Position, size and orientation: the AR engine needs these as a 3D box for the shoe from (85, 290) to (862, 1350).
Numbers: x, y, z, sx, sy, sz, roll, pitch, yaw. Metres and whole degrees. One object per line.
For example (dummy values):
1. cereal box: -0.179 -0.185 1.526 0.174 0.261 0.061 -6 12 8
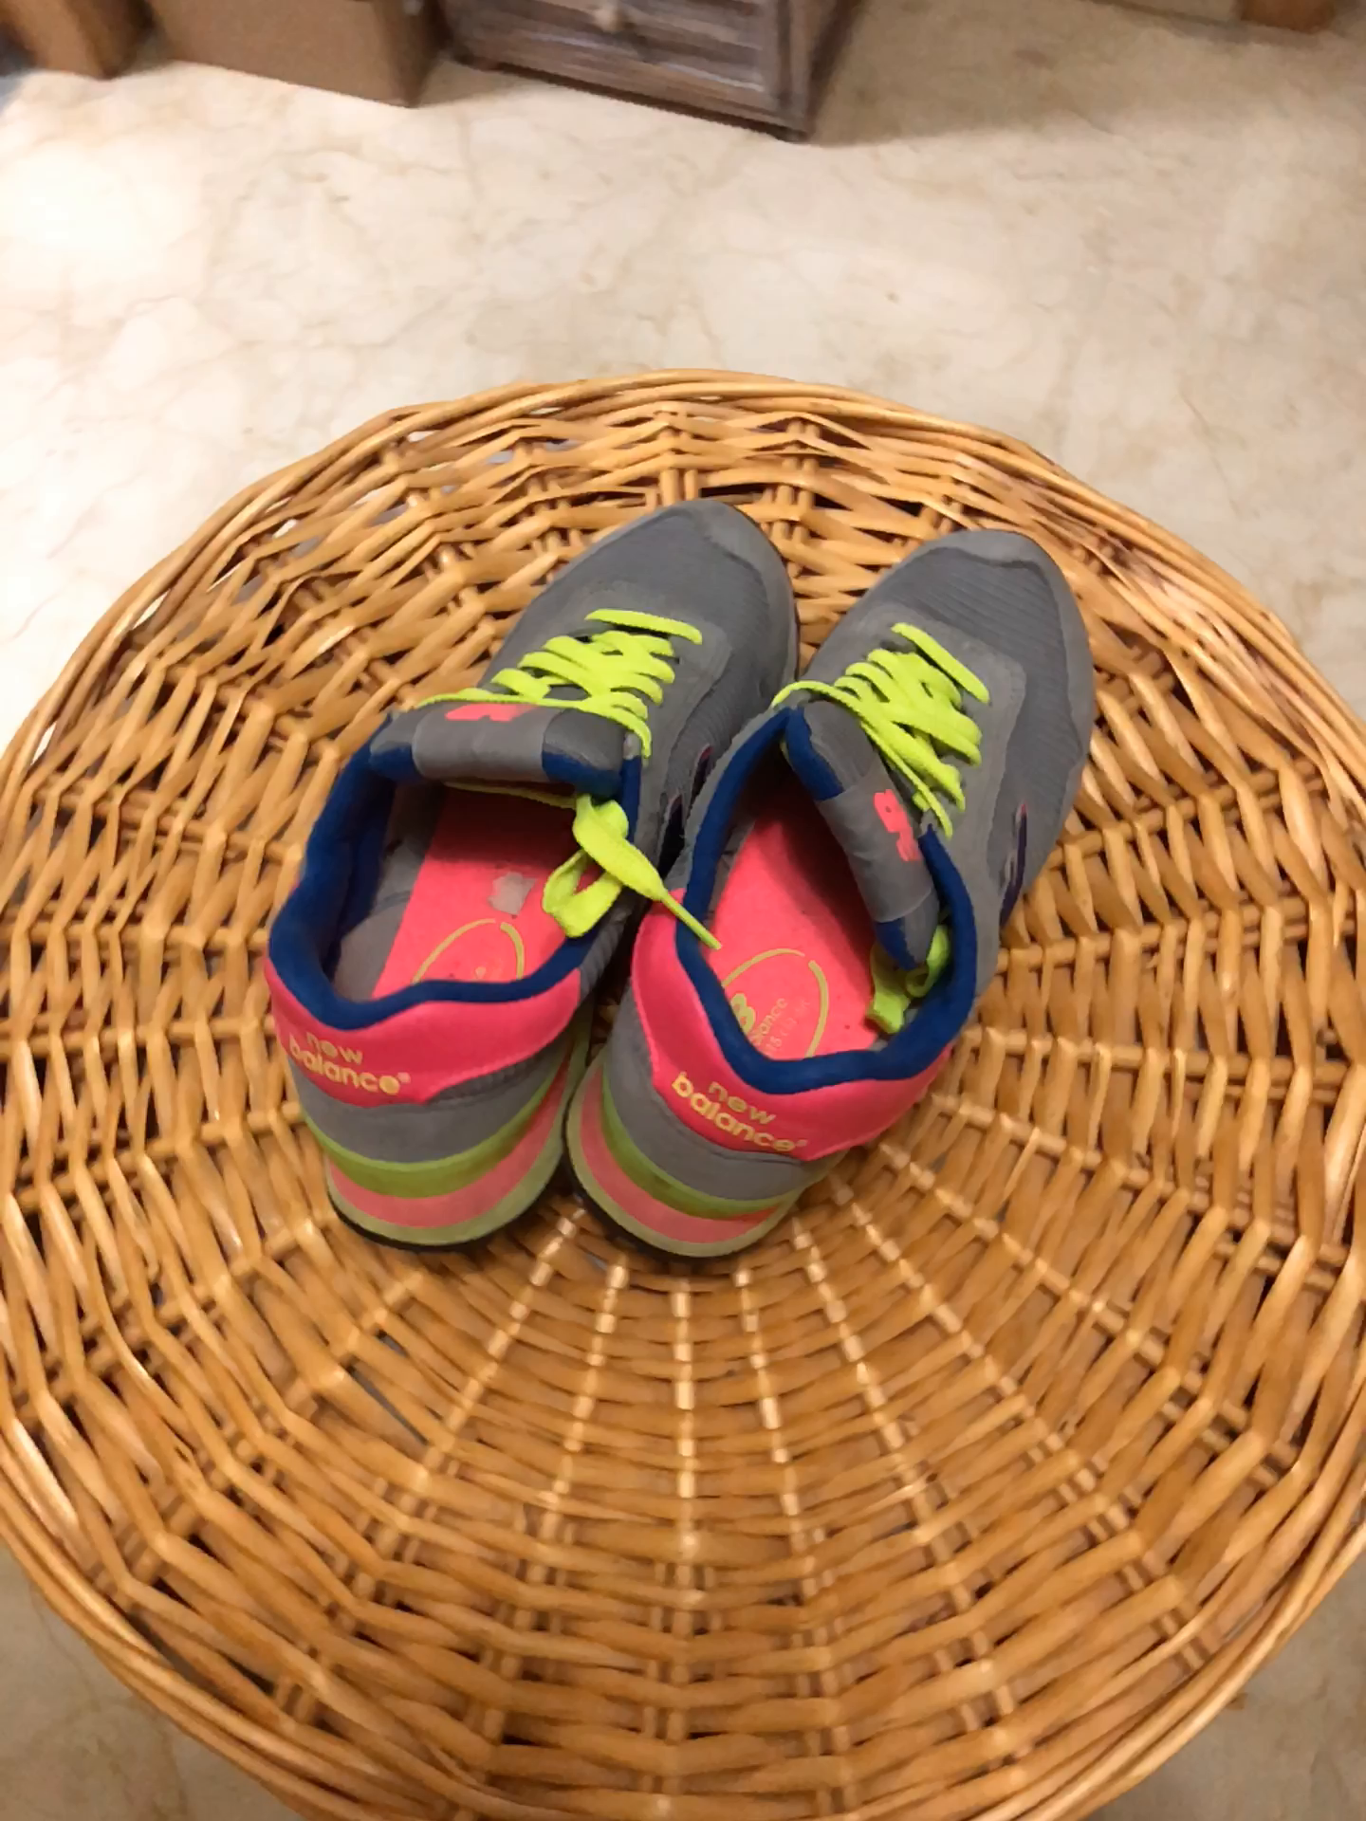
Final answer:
1. shoe: -0.043 -0.027 0.453 0.100 0.110 0.280 19 73 13

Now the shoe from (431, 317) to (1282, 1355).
1. shoe: 0.052 -0.018 0.432 0.100 0.110 0.260 29 75 10
